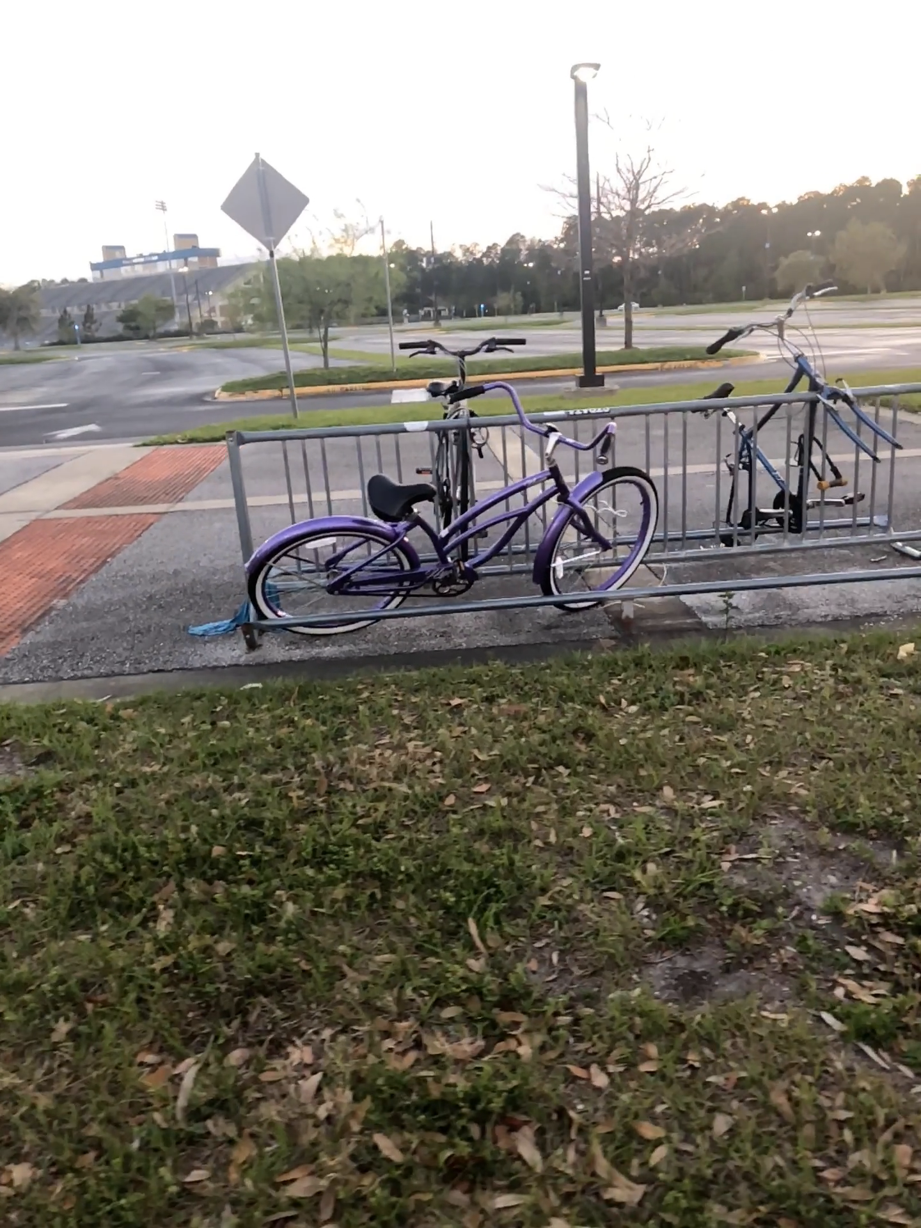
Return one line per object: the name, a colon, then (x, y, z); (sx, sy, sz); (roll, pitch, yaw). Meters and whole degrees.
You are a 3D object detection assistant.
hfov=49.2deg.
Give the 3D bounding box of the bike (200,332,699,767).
bike: (0.011, -0.343, 3.815); (1.700, 1.118, 0.853); (-11, 17, -12)
